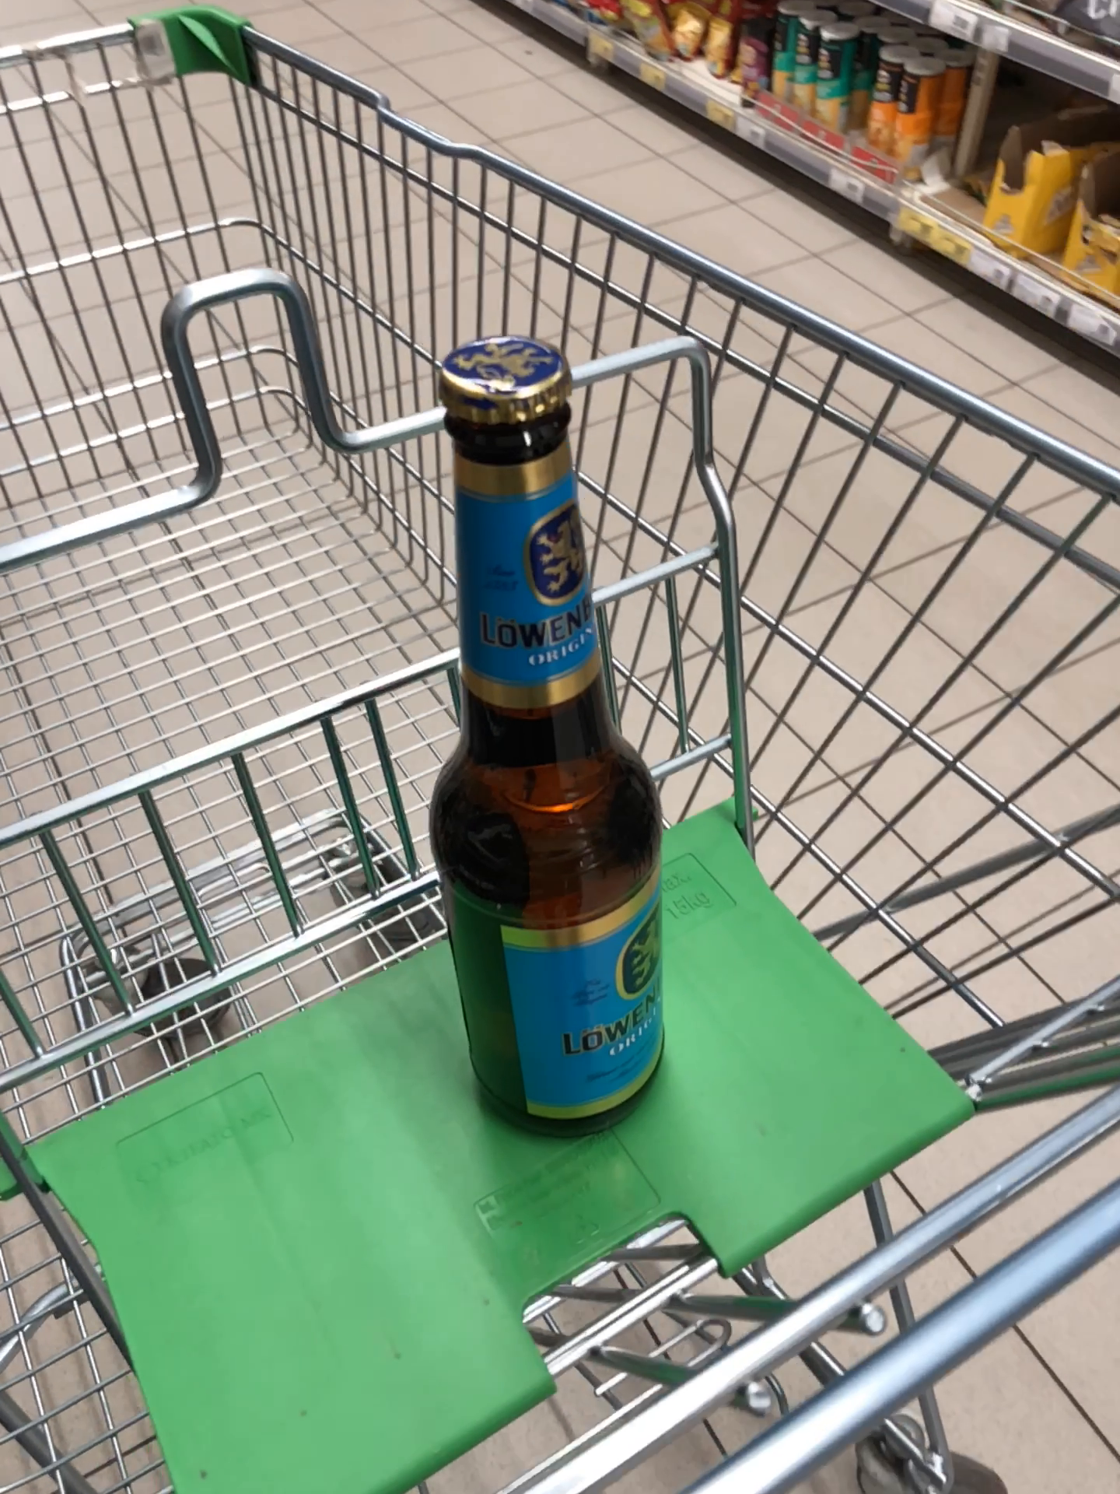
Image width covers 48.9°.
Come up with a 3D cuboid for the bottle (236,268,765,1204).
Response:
[{"bbox_3d":[-0.002,0.016,0.331,0.070,0.249,0.080,27,53,28],"label":"bottle"}]
